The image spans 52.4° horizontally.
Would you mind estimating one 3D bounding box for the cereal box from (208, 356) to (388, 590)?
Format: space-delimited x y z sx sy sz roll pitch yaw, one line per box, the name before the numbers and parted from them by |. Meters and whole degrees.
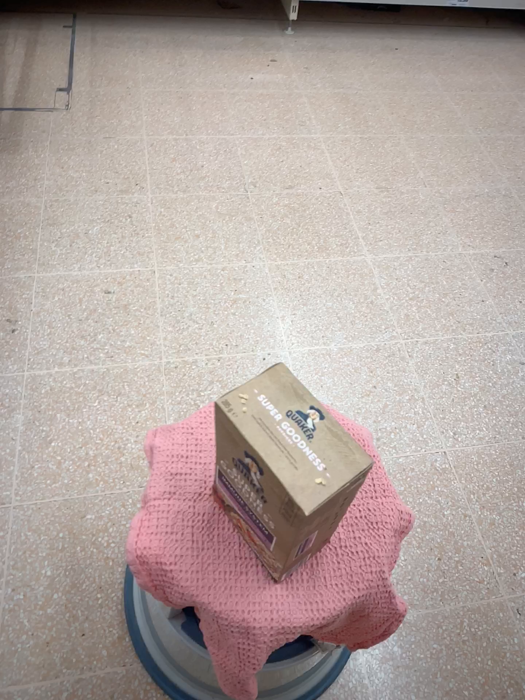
cereal box | 0.020 0.131 0.535 0.090 0.208 0.131 -31 62 -25
